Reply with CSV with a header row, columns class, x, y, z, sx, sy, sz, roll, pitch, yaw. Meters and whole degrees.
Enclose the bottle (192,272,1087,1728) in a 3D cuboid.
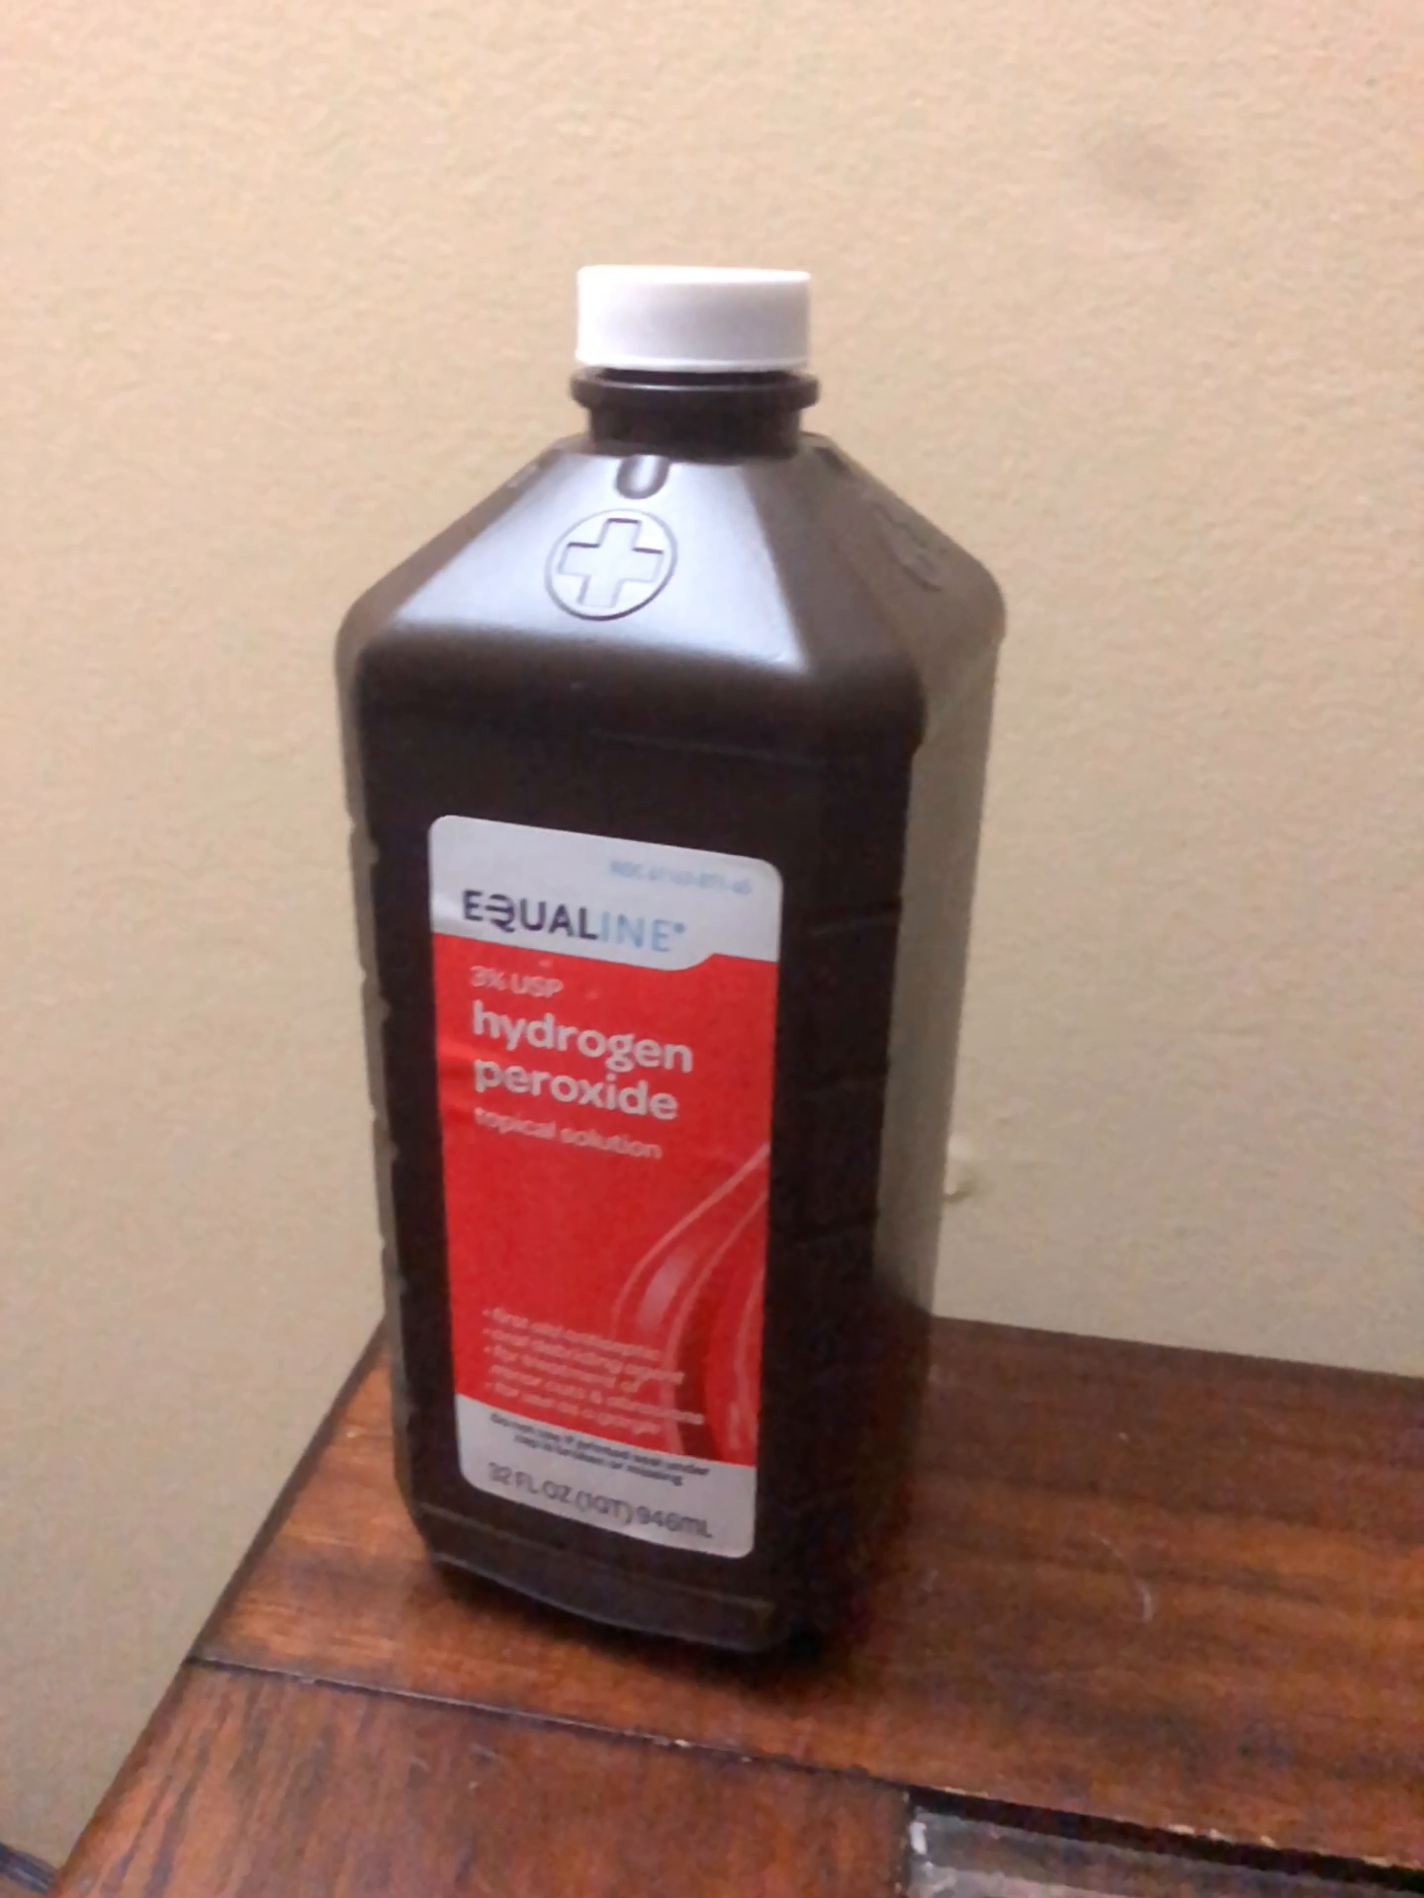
class,x,y,z,sx,sy,sz,roll,pitch,yaw
bottle,-0.005,0.003,0.238,0.090,0.189,0.080,9,25,16
